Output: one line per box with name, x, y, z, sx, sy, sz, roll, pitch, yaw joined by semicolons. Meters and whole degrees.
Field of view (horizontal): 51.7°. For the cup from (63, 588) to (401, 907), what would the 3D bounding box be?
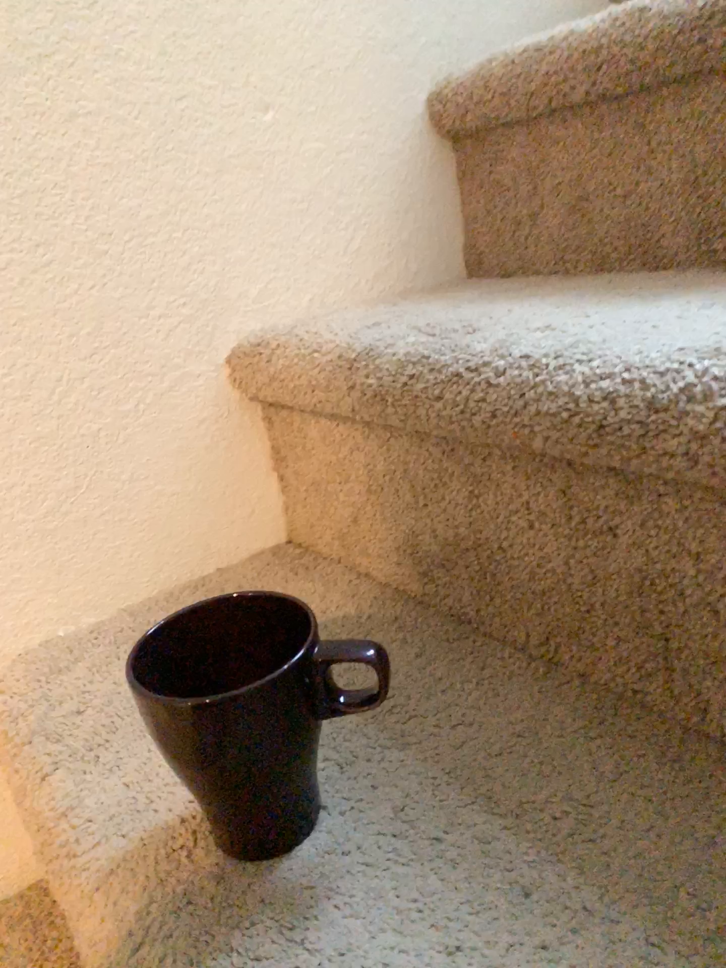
cup;-0.051;0.111;0.336;0.110;0.099;0.080;-3;18;16
